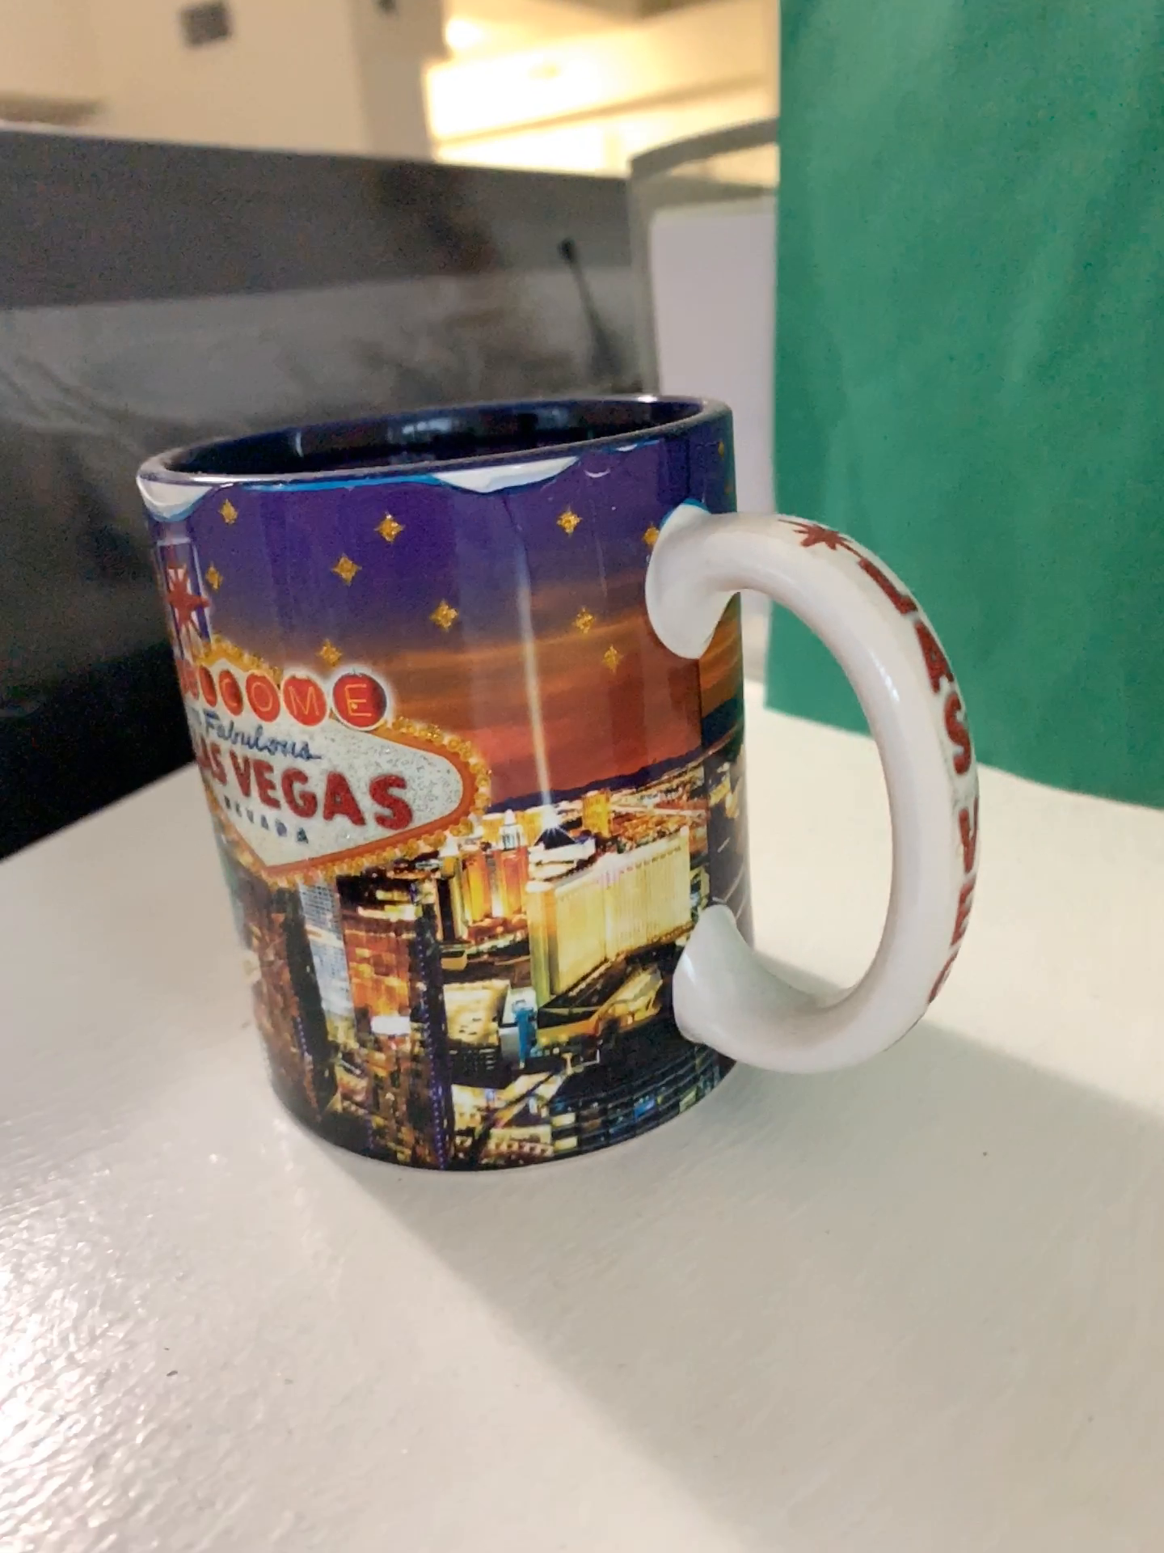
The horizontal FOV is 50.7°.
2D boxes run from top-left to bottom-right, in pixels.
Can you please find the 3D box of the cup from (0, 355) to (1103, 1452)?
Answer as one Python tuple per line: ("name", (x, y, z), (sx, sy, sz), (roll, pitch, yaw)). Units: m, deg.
("cup", (-0.004, 0.000, 0.175), (0.120, 0.100, 0.080), (12, 28, 40))
